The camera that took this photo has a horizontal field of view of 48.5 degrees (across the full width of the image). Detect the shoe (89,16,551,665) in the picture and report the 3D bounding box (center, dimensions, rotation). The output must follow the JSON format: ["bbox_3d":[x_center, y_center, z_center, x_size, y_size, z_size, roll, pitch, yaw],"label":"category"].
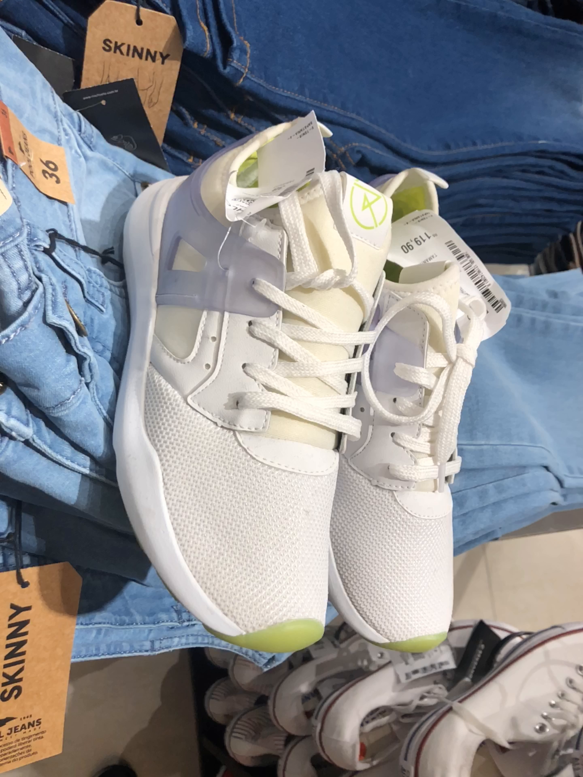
[{"bbox_3d":[-0.013,-0.027,0.302,0.110,0.119,0.260,16,46,-37],"label":"shoe"}]

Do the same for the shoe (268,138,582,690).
[{"bbox_3d":[0.061,0.012,0.349,0.100,0.090,0.250,3,74,-29],"label":"shoe"}]
